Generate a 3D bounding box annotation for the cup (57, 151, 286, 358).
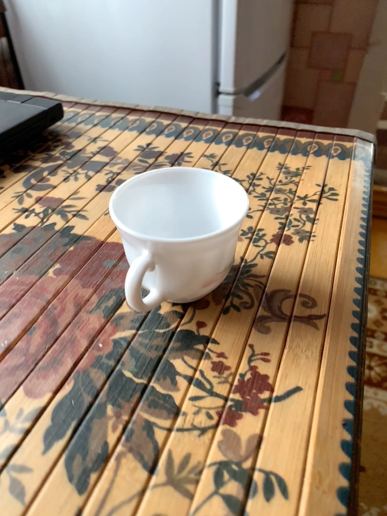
[{"bbox_3d":[-0.005,-0.009,0.185,0.068,0.039,0.081,17,42,20],"label":"cup"}]
